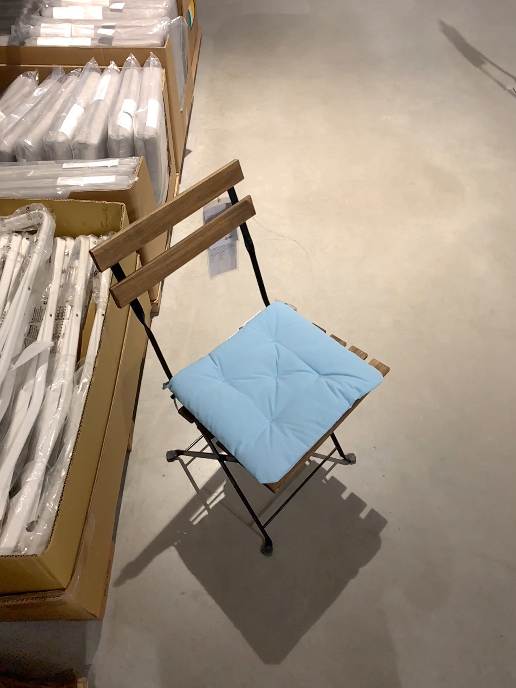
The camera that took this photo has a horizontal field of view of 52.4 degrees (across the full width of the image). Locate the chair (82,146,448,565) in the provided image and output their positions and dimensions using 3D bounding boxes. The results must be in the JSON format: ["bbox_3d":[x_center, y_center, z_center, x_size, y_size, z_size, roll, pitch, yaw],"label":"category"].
[{"bbox_3d":[0.009,0.067,1.161,0.461,0.738,0.400,35,60,24],"label":"chair"}]
